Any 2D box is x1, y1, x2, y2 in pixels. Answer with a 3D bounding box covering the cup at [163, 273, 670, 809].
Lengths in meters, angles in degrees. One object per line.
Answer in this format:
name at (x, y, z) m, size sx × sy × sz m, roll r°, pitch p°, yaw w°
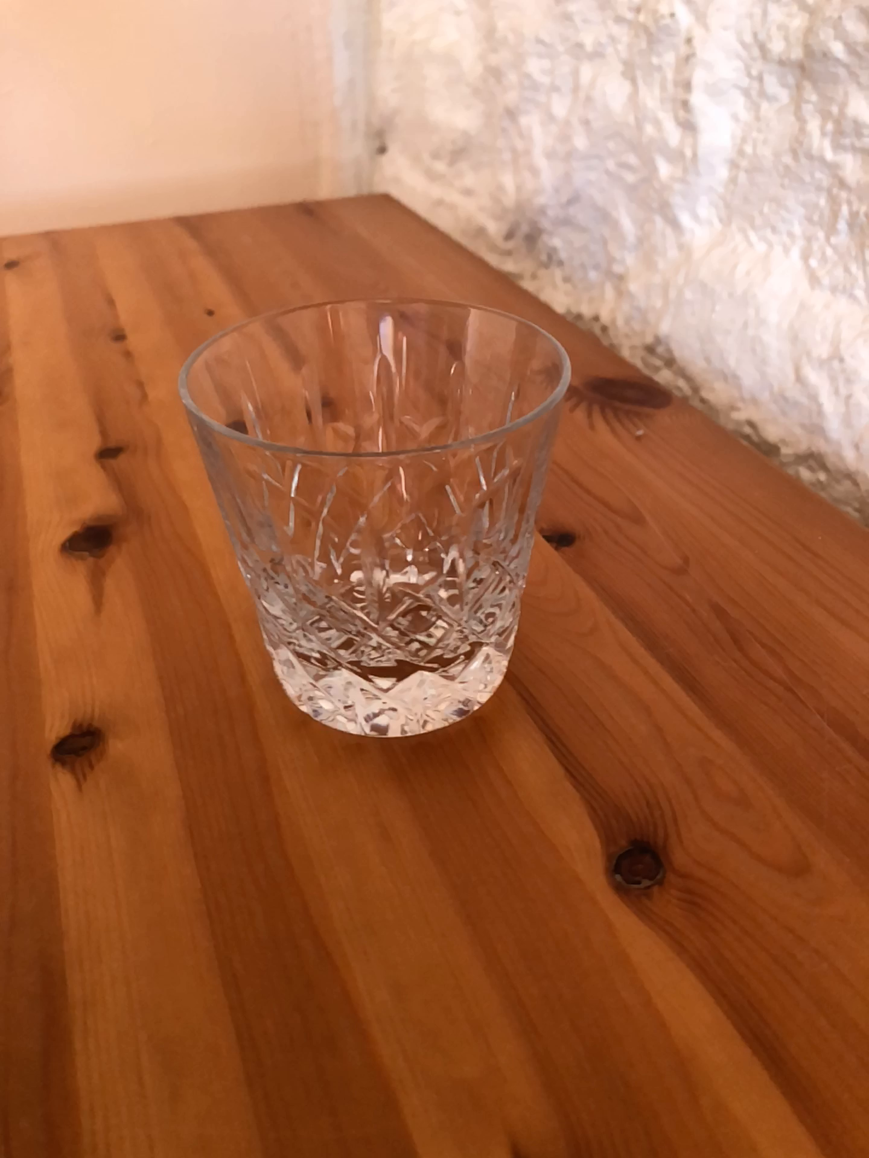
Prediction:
cup at (-0.008, -0.014, 0.202) m, size 0.076 × 0.068 × 0.078 m, roll -1°, pitch 35°, yaw 1°
